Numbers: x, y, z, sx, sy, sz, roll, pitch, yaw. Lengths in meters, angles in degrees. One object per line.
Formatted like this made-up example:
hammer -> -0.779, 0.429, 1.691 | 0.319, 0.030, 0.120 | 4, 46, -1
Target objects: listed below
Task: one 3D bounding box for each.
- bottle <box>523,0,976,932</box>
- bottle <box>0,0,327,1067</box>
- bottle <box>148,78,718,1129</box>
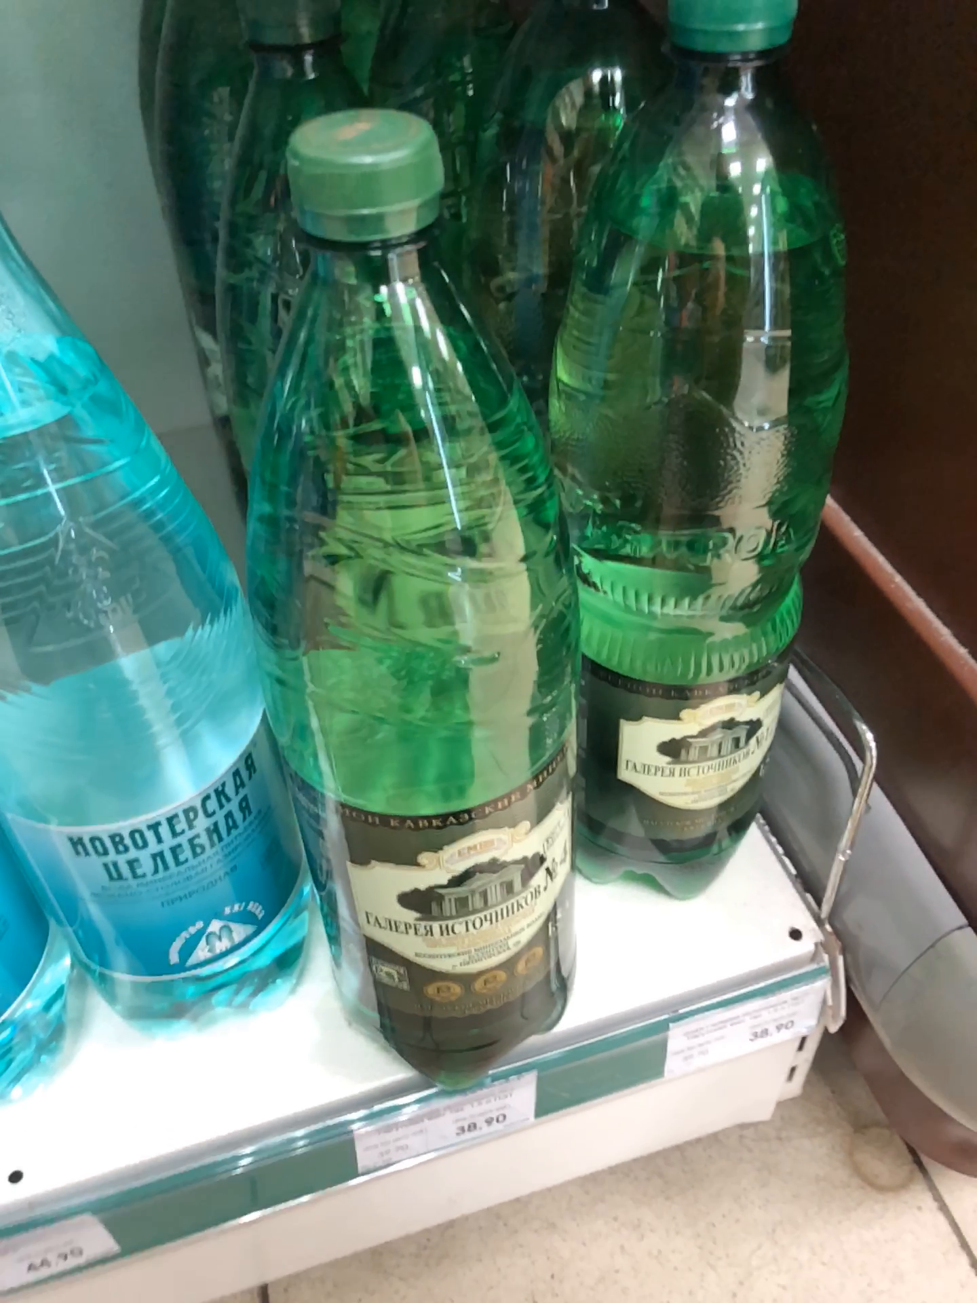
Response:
bottle -> 0.070, -0.041, 0.363 | 0.091, 0.326, 0.083 | -13, 45, -12
bottle -> -0.115, 0.001, 0.321 | 0.084, 0.326, 0.077 | 0, 44, 0
bottle -> -0.015, 0.019, 0.314 | 0.091, 0.308, 0.089 | 0, 44, 0
